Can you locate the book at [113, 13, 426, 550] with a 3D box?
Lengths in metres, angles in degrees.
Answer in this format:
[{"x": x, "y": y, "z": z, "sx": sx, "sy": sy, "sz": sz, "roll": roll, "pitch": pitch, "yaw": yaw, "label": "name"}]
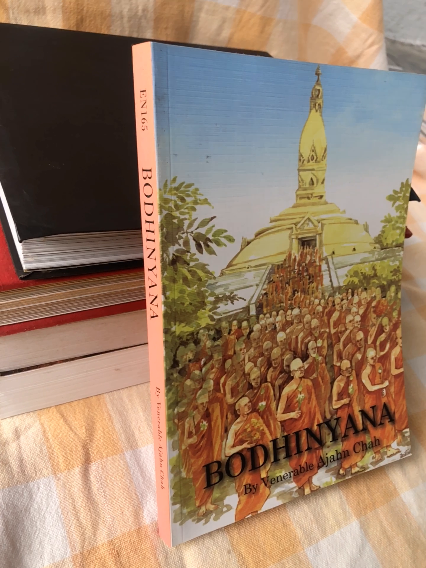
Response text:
[{"x": 0.037, "y": 0.000, "z": 0.221, "sx": 0.151, "sy": 0.200, "sz": 0.030, "roll": -7, "pitch": 12, "yaw": -27, "label": "book"}]
